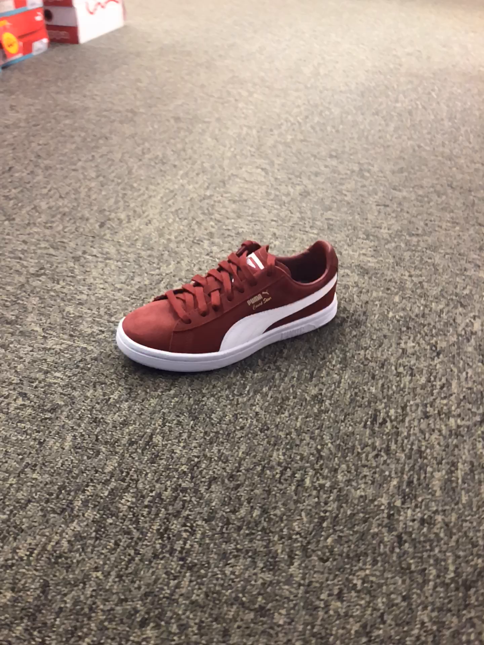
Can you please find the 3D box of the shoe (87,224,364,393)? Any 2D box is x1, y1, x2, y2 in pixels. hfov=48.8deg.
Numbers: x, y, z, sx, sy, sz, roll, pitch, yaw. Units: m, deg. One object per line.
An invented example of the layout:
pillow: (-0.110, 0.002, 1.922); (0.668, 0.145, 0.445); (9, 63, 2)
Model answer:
shoe: (-0.016, -0.022, 0.543); (0.251, 0.080, 0.100); (-13, 41, -17)
